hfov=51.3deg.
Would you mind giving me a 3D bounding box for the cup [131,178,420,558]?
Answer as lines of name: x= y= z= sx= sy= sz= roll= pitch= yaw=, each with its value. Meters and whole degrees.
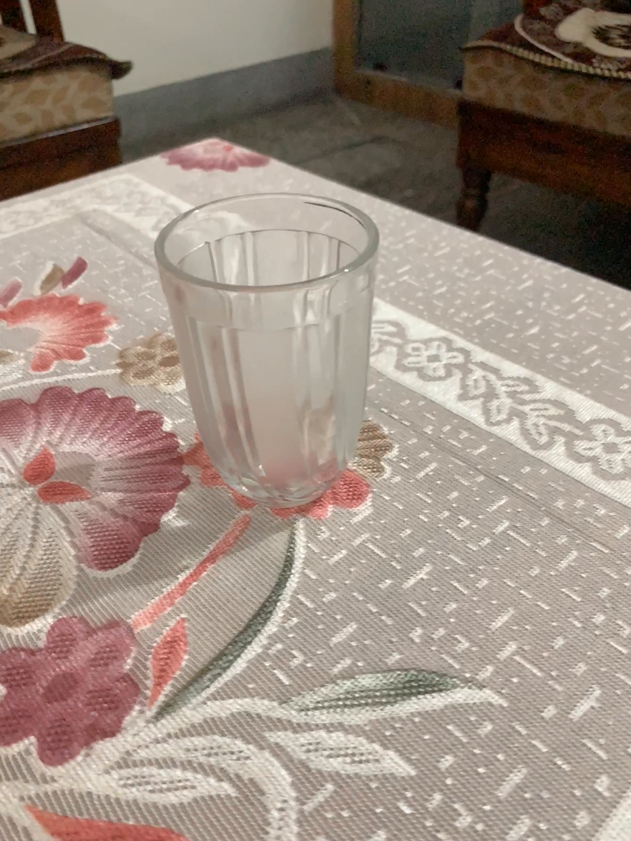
cup: x=-0.015 y=-0.019 z=0.233 sx=0.070 sy=0.100 sz=0.070 roll=-1 pitch=40 yaw=1
